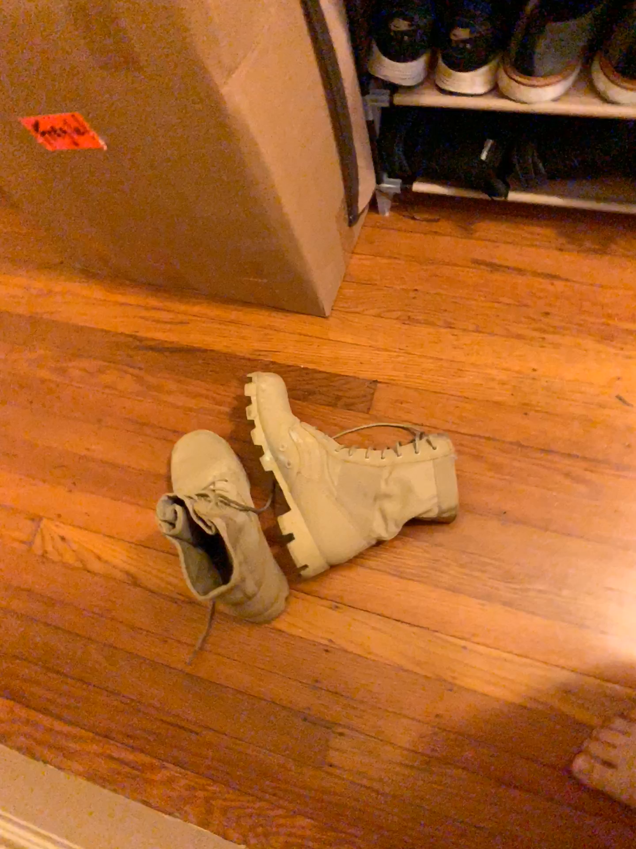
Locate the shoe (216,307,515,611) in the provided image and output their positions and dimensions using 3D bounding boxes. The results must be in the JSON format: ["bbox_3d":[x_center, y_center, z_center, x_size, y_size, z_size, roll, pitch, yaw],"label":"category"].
[{"bbox_3d":[0.051,0.040,0.830,0.260,0.110,0.291,-24,66,-5],"label":"shoe"}]

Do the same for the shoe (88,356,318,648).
[{"bbox_3d":[-0.134,0.101,0.785,0.120,0.199,0.291,-28,66,0],"label":"shoe"}]
